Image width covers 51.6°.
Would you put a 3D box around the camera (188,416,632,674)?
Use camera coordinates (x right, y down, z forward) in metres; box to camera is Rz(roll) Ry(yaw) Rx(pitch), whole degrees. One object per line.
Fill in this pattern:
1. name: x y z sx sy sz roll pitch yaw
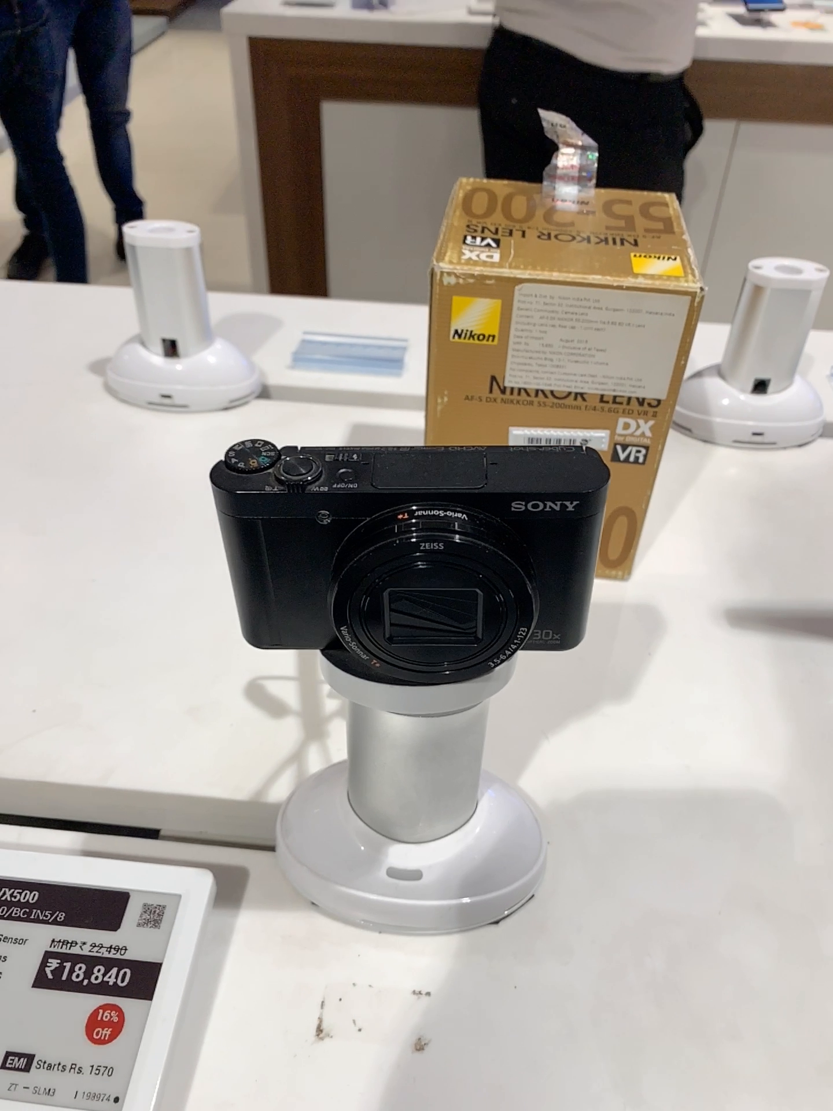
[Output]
1. camera: -0.002 -0.001 0.225 0.100 0.060 0.030 1 41 0
